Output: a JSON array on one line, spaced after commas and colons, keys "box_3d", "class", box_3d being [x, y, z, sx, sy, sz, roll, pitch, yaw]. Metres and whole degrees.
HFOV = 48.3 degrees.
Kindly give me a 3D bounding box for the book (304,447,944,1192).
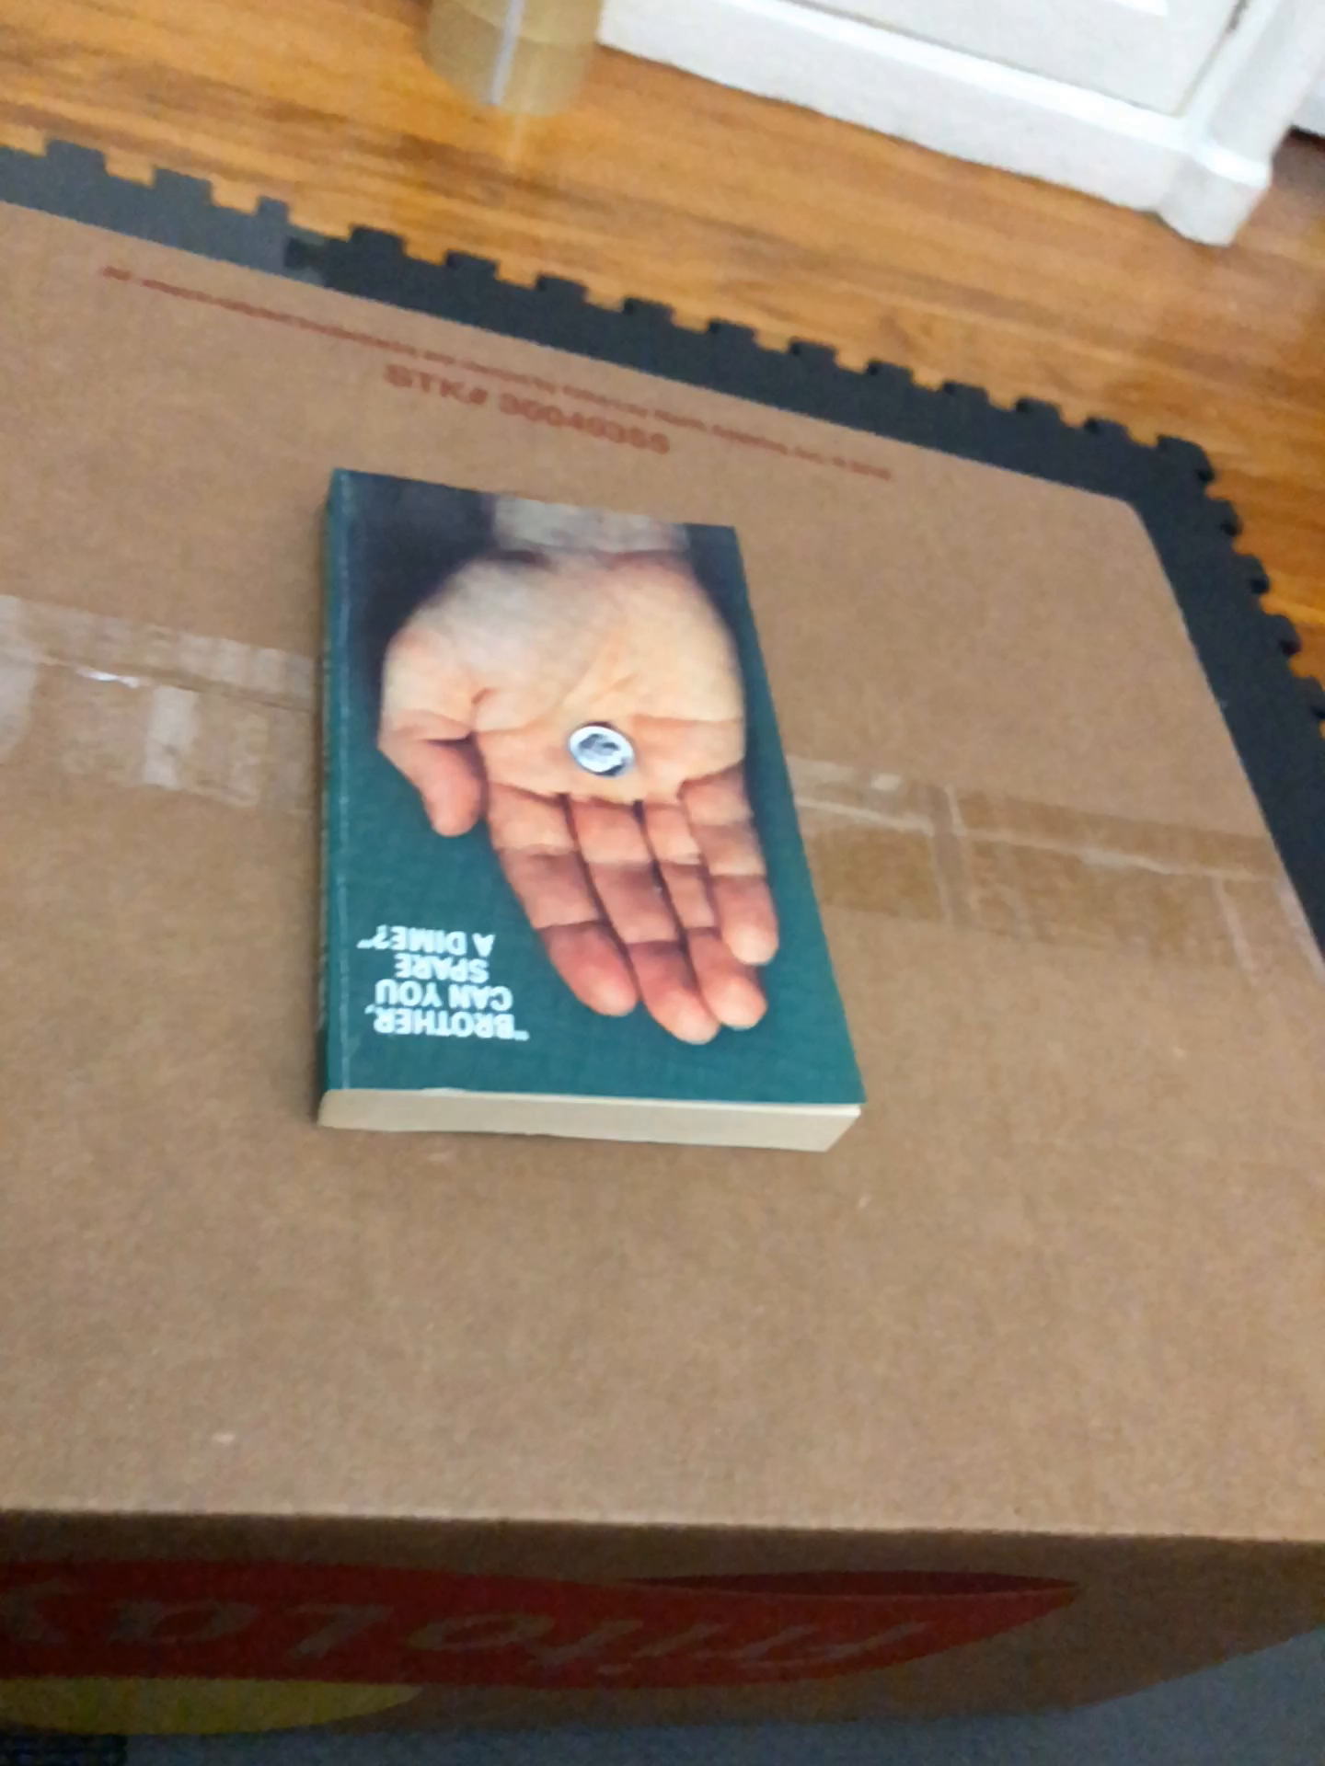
[{"box_3d": [-0.015, -0.021, 0.330, 0.120, 0.020, 0.181, 6, 52, -19], "class": "book"}]
